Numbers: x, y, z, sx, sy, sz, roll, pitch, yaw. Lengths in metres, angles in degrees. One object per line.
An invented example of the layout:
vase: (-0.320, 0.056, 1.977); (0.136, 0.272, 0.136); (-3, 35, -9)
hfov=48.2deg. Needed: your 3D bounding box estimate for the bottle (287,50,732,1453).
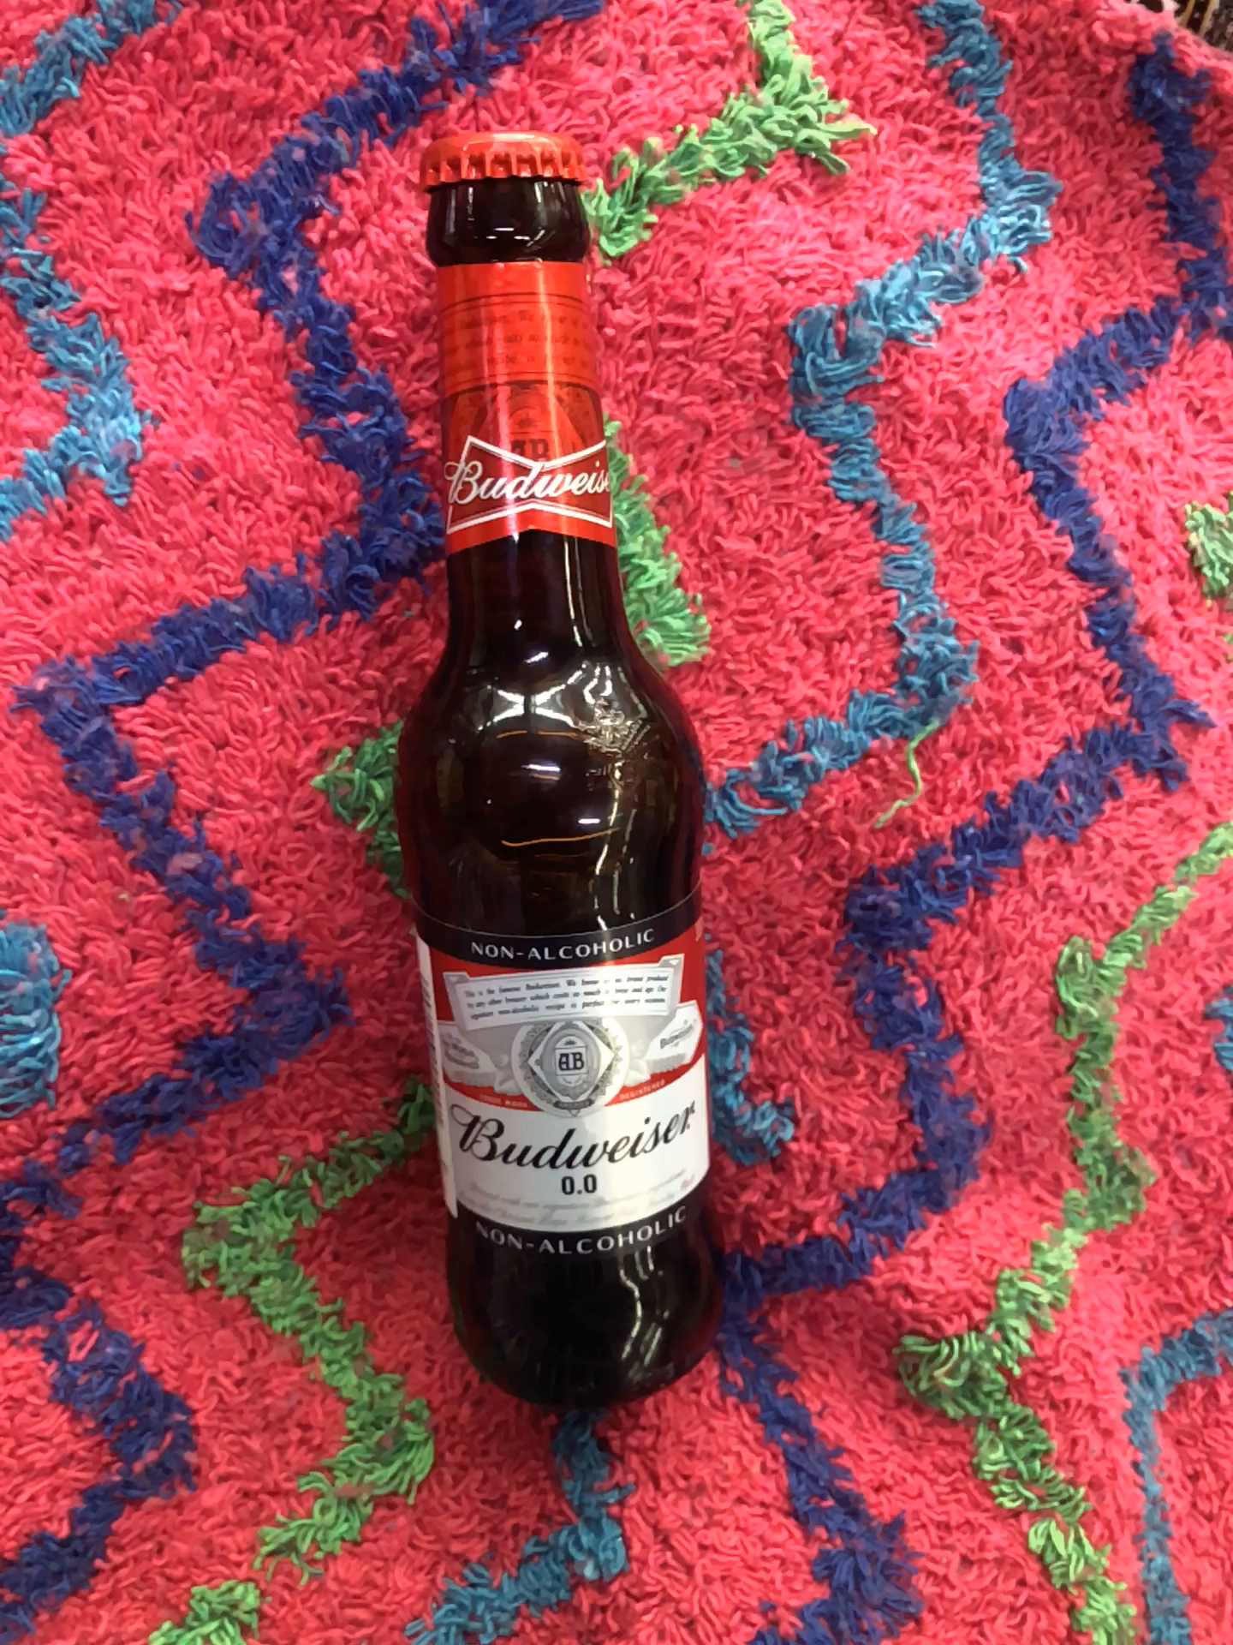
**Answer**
bottle: (-0.016, -0.005, 0.270); (0.060, 0.050, 0.250); (-4, 103, -4)
